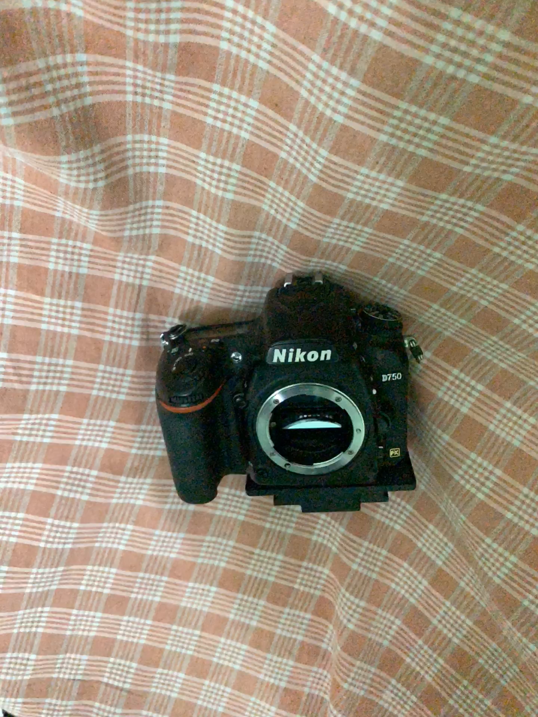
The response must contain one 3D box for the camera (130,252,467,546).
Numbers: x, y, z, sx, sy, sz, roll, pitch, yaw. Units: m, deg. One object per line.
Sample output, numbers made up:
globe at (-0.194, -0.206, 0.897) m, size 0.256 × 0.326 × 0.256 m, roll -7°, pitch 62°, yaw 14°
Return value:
camera at (0.019, 0.021, 0.304) m, size 0.145 × 0.085 × 0.125 m, roll -4°, pitch 117°, yaw 5°
